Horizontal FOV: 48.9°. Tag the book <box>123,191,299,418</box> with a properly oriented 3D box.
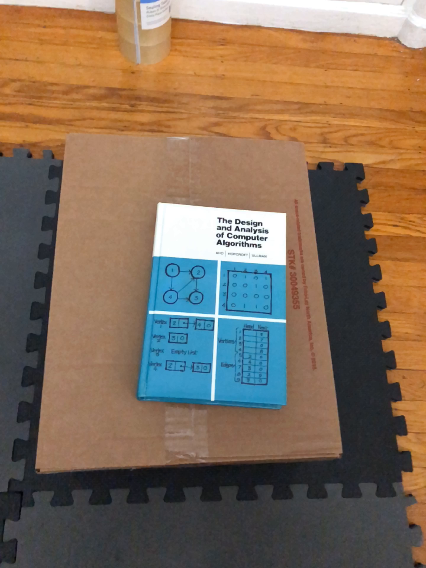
[{"bbox_3d":[0.006,0.019,0.570,0.190,0.040,0.261,6,68,-4],"label":"book"}]
